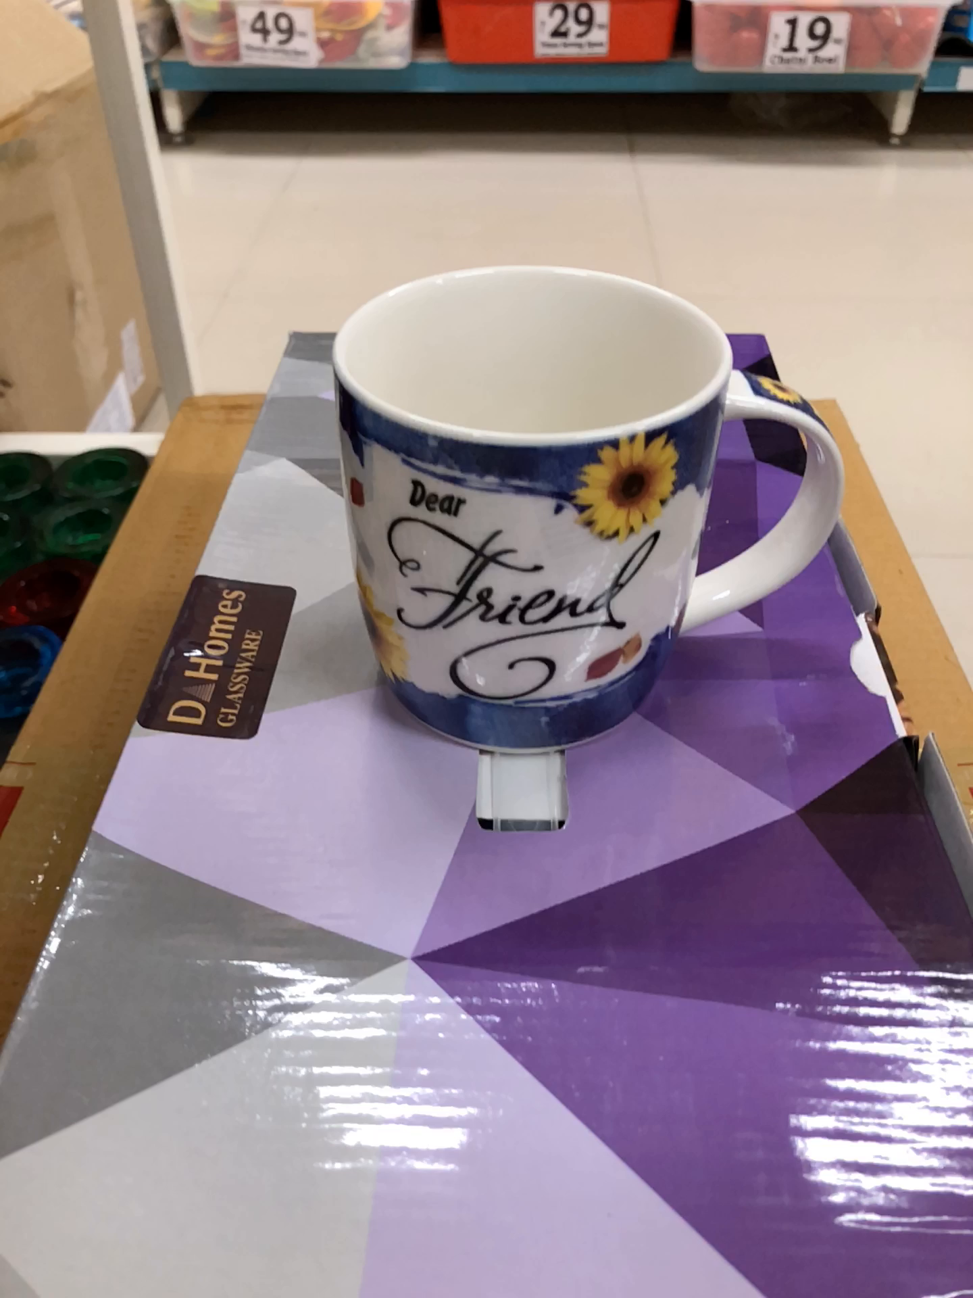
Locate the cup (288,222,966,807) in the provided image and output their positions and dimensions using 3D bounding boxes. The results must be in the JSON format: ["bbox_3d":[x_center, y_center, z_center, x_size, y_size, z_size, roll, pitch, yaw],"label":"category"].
[{"bbox_3d":[0.025,-0.035,0.256,0.120,0.089,0.080,-12,42,-13],"label":"cup"}]
